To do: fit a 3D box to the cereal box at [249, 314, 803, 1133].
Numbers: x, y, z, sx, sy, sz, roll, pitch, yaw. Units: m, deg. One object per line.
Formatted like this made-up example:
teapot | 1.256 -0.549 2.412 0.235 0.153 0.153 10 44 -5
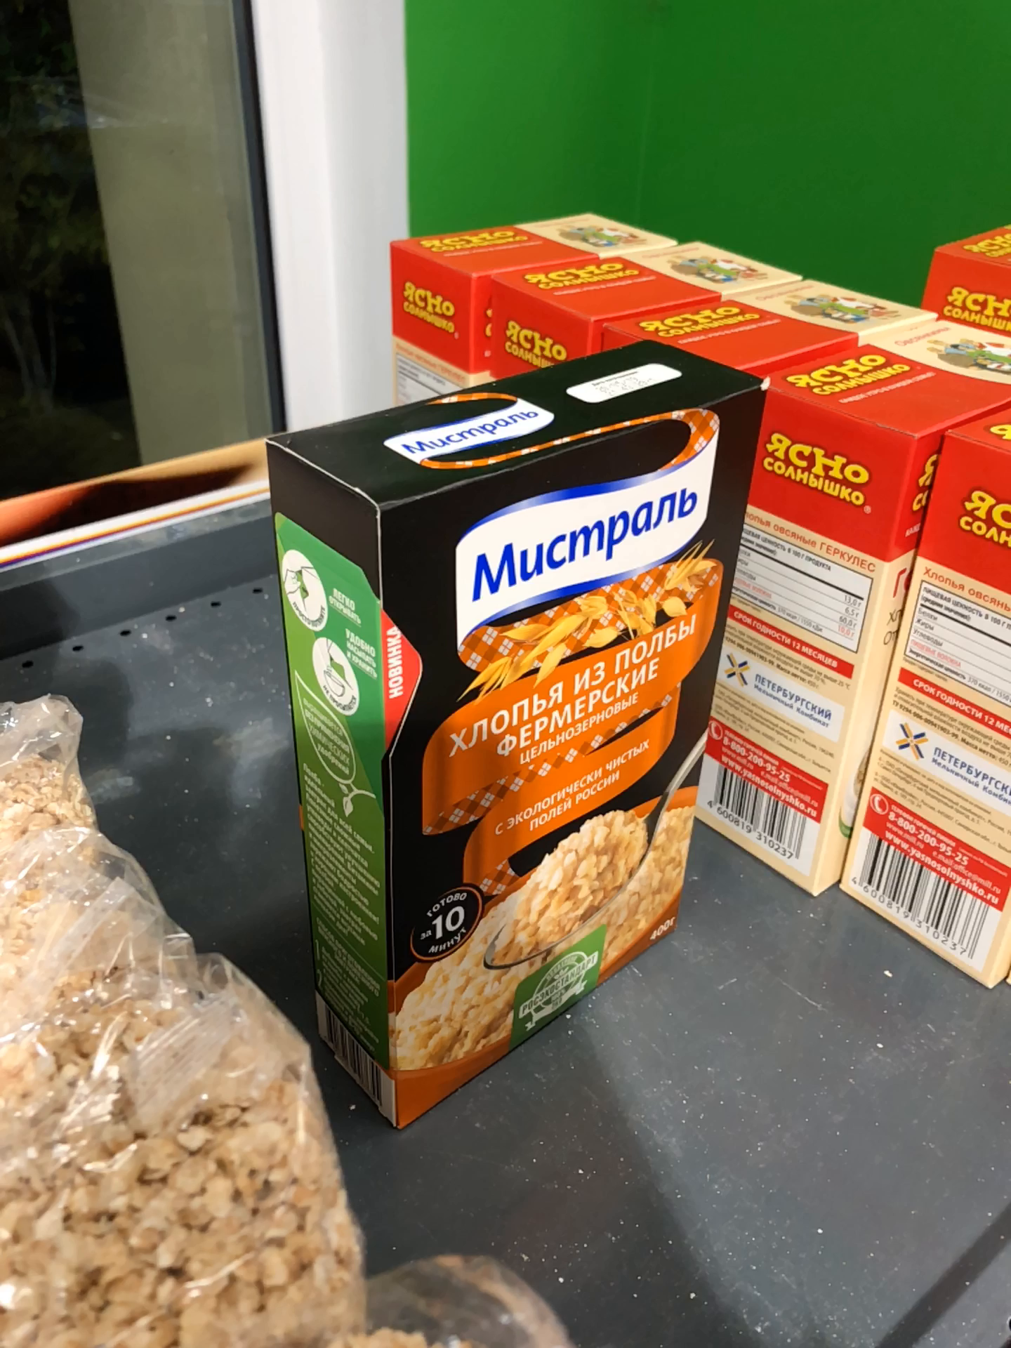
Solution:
cereal box | 0.008 0.016 0.334 0.140 0.209 0.050 -25 42 -35
